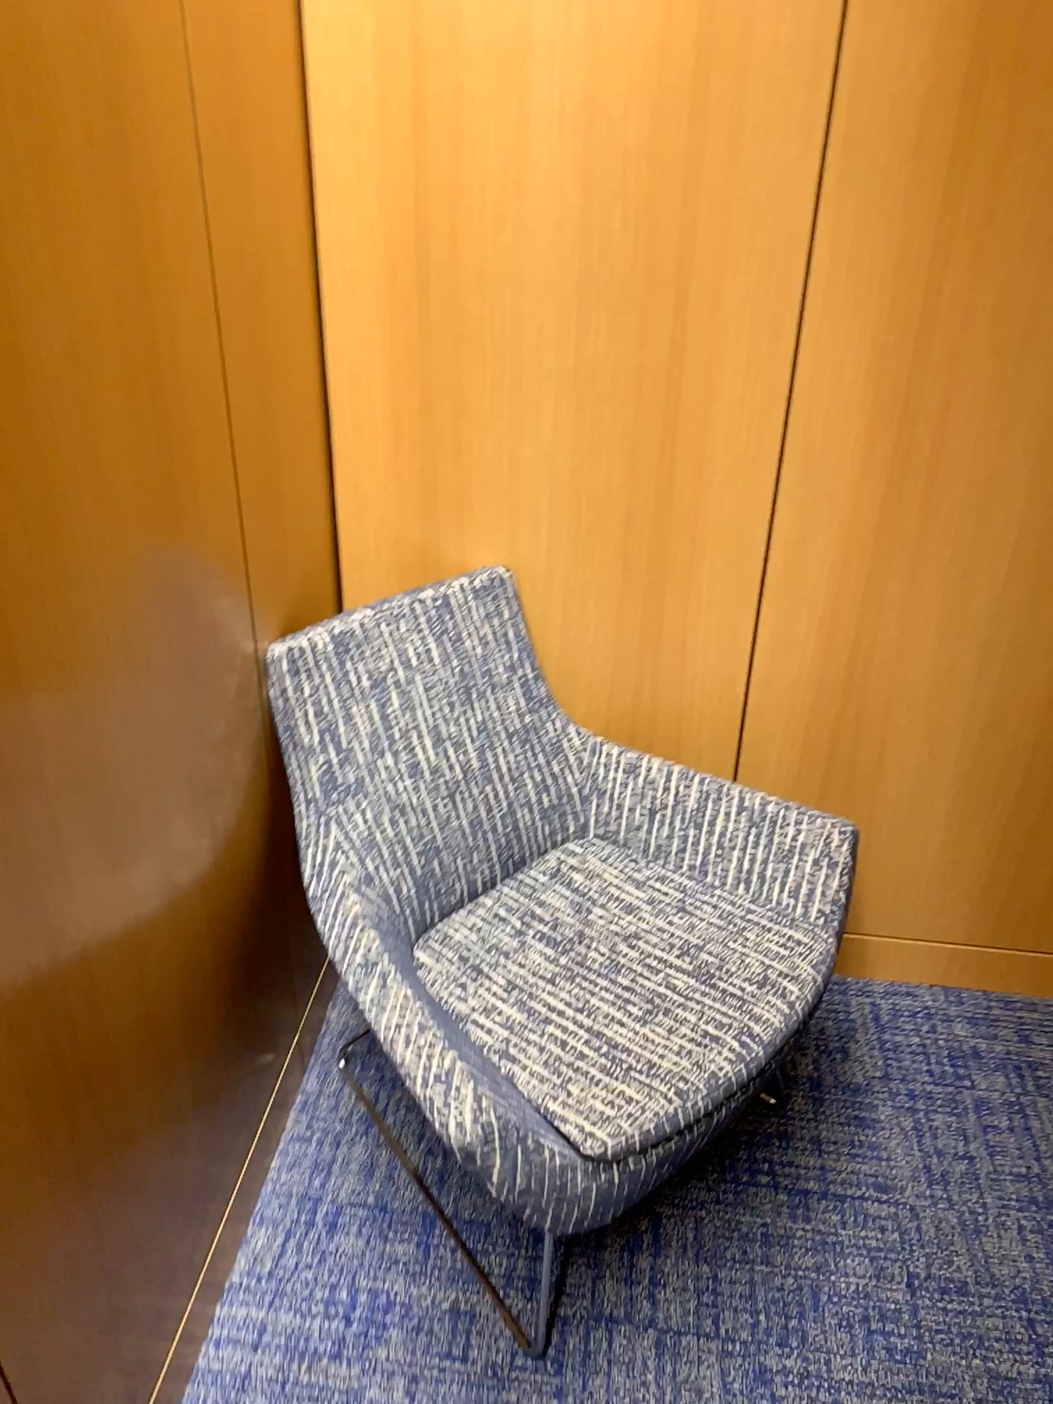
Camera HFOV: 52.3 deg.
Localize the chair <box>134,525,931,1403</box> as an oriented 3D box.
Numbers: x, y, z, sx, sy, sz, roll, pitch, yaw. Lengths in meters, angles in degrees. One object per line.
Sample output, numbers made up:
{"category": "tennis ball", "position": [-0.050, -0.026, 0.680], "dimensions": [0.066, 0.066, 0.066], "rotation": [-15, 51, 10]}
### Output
{"category": "chair", "position": [0.016, 0.285, 1.423], "dimensions": [0.614, 0.746, 0.703], "rotation": [25, 37, 36]}
